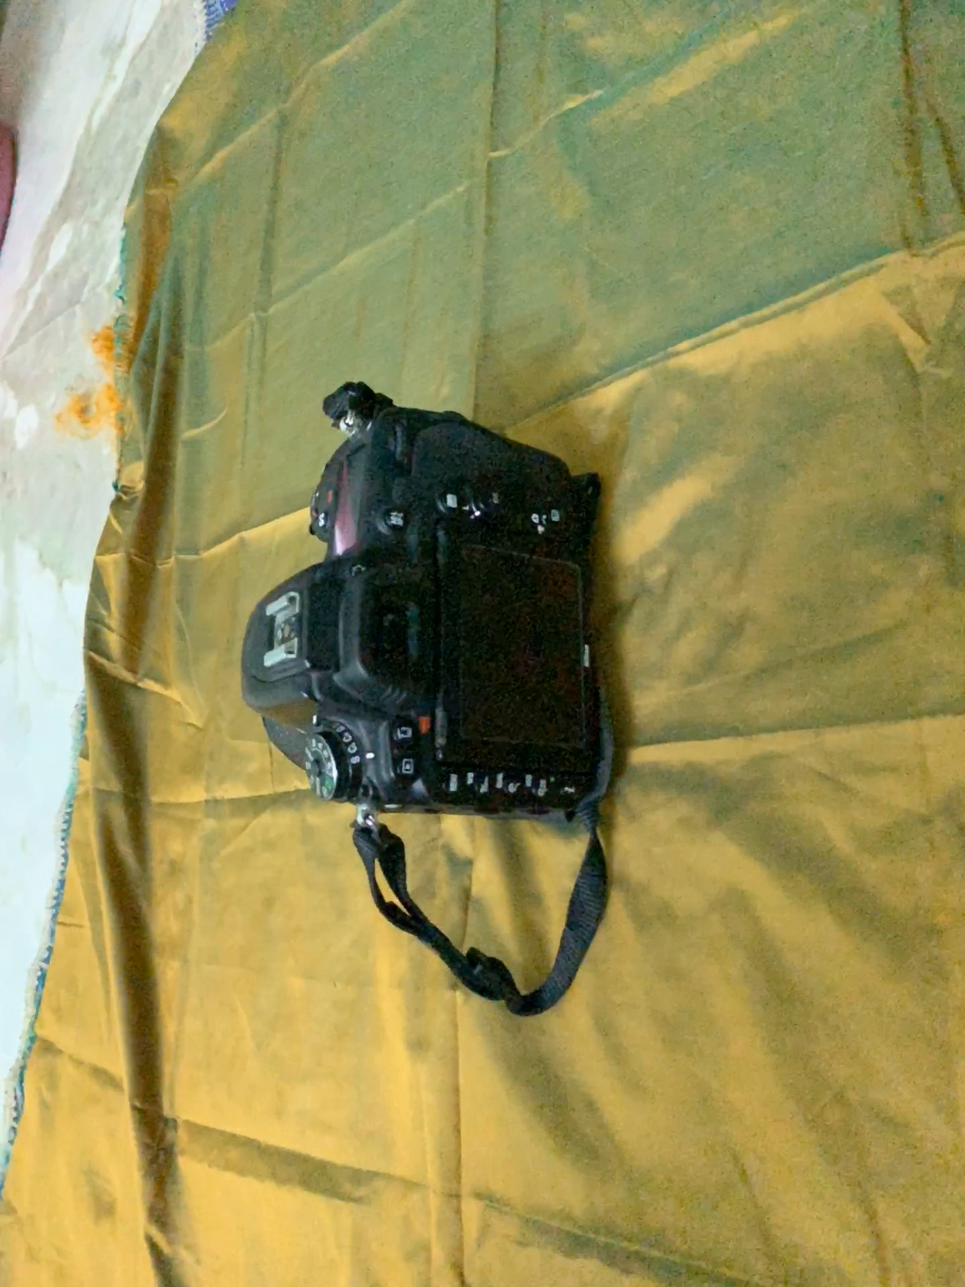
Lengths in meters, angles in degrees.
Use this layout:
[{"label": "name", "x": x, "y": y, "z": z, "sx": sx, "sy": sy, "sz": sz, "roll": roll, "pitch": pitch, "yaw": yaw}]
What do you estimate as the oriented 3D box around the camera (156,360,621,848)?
[{"label": "camera", "x": -0.037, "y": 0.002, "z": 0.369, "sx": 0.132, "sy": 0.119, "sz": 0.135, "roll": -22, "pitch": 62, "yaw": 57}]
